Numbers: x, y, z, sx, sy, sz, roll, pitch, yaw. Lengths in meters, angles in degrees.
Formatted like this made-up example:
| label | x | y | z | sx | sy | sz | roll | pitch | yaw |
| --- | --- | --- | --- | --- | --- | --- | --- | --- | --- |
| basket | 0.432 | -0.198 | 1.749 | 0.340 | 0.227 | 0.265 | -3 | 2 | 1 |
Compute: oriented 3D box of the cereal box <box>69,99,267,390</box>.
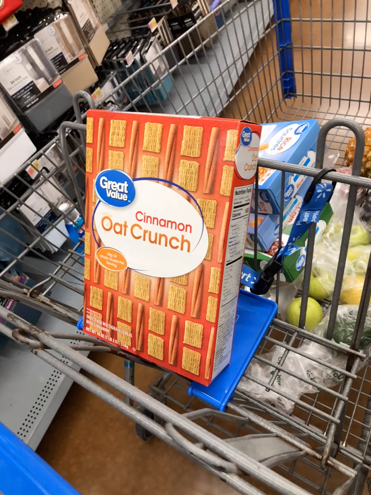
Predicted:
| label | x | y | z | sx | sy | sz | roll | pitch | yaw |
| --- | --- | --- | --- | --- | --- | --- | --- | --- | --- |
| cereal box | -0.034 | -0.014 | 0.469 | 0.201 | 0.280 | 0.070 | 15 | 19 | 29 |
